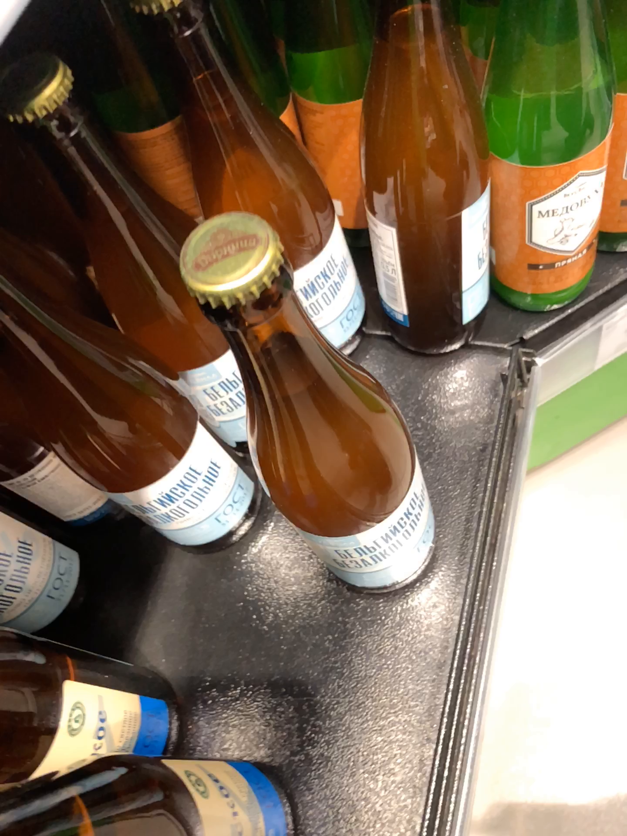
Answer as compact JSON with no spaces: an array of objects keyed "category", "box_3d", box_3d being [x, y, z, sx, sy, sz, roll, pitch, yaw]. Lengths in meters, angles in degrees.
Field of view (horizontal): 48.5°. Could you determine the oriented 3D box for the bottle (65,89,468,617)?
[{"category":"bottle","box_3d":[0.006,0.005,0.304,0.080,0.255,0.080,-6,62,12]}]
